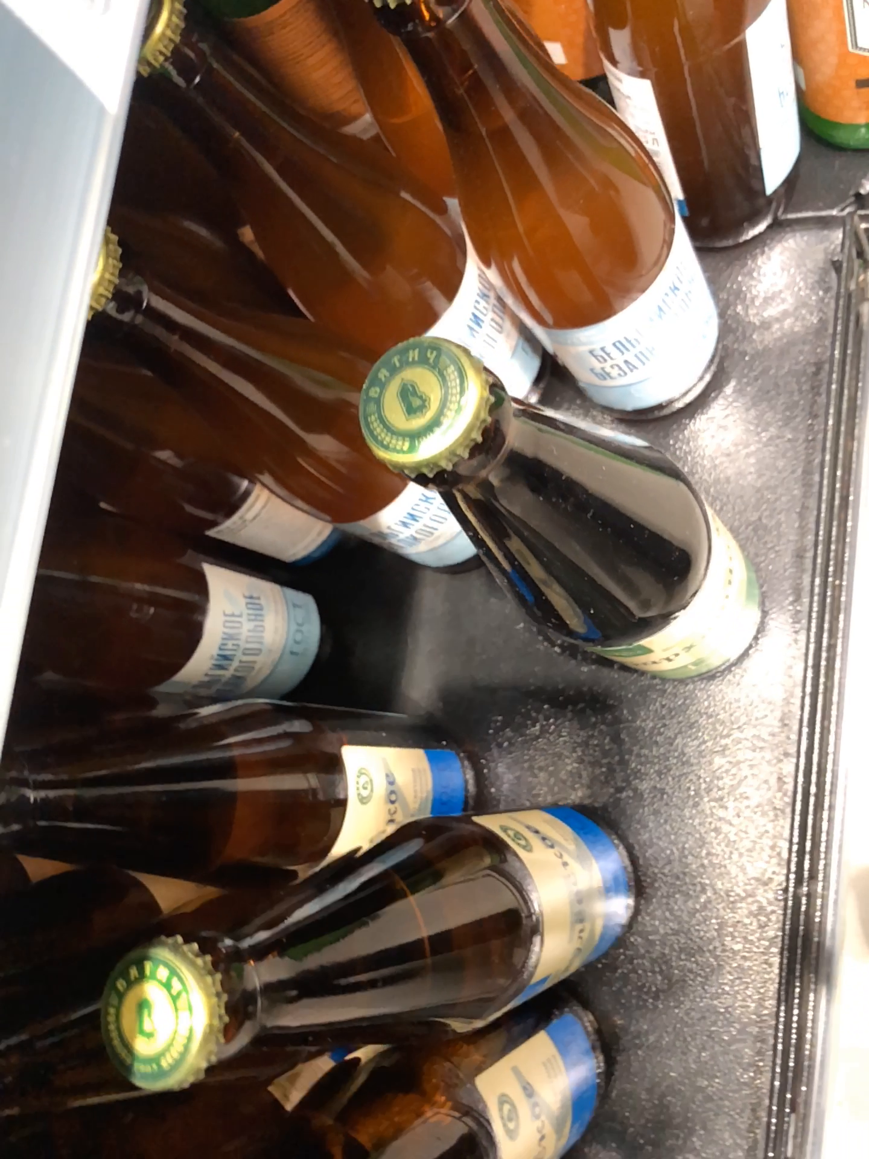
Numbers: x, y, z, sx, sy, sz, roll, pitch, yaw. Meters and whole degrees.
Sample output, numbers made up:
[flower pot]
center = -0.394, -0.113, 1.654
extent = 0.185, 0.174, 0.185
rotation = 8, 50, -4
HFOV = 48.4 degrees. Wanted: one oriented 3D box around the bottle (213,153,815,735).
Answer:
[bottle]
center = 0.053, -0.011, 0.297
extent = 0.070, 0.249, 0.080
rotation = 44, 99, 26
